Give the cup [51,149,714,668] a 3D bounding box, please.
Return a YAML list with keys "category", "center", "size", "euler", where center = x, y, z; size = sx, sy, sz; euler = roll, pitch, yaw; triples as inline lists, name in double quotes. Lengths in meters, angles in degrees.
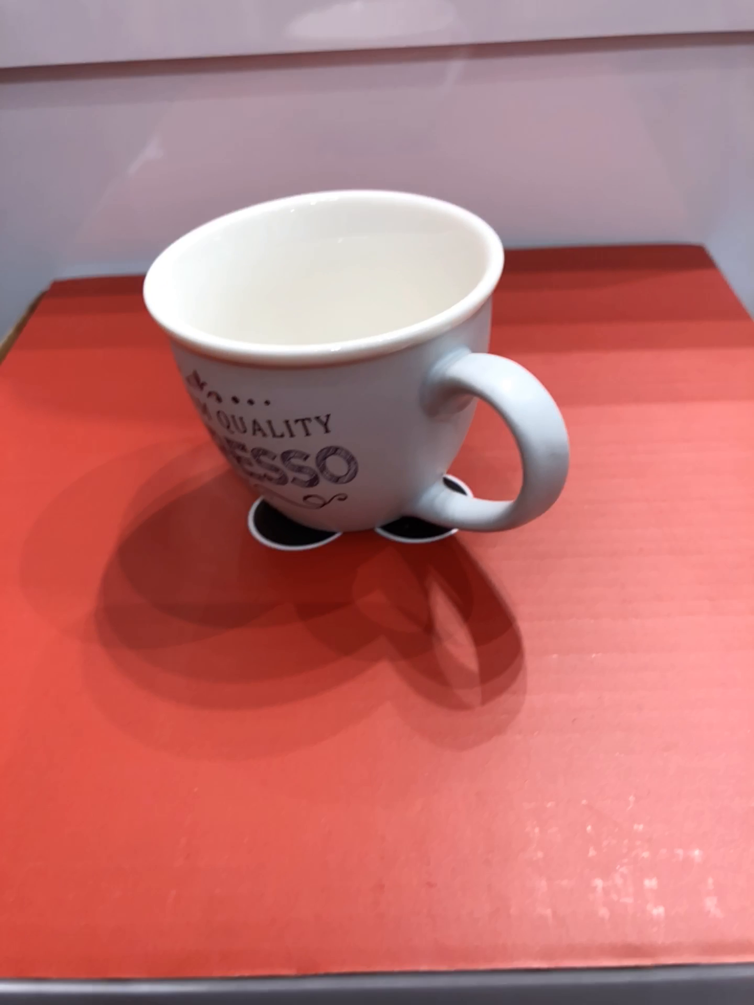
- category: "cup"
  center: [-0.001, -0.028, 0.167]
  size: [0.080, 0.040, 0.090]
  euler: [-30, 47, -28]
